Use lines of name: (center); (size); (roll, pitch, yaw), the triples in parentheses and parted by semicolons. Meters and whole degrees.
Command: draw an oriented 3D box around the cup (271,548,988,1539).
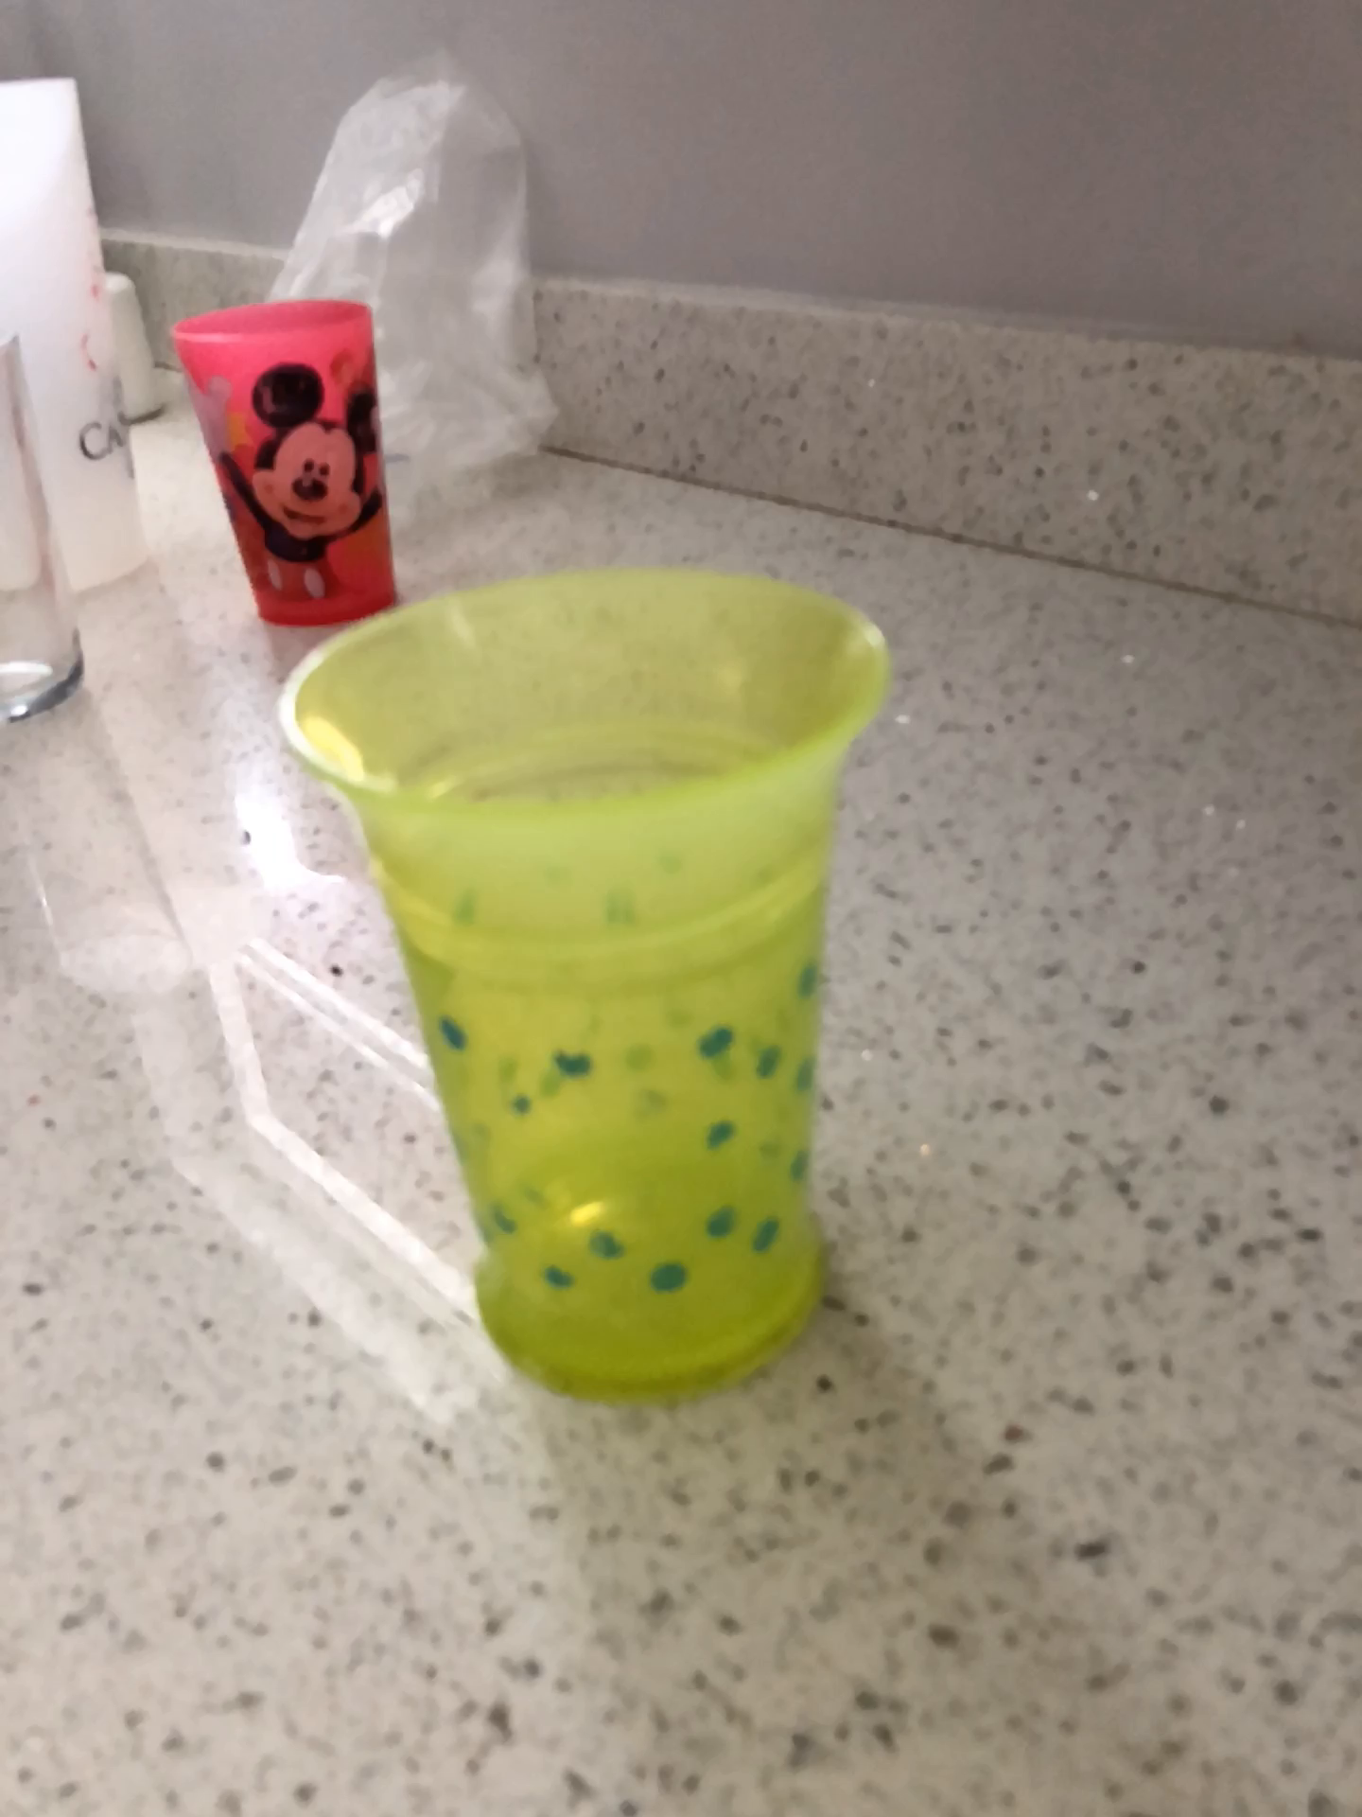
cup: (-0.008, 0.016, 0.223); (0.073, 0.109, 0.078); (-4, 31, 2)
